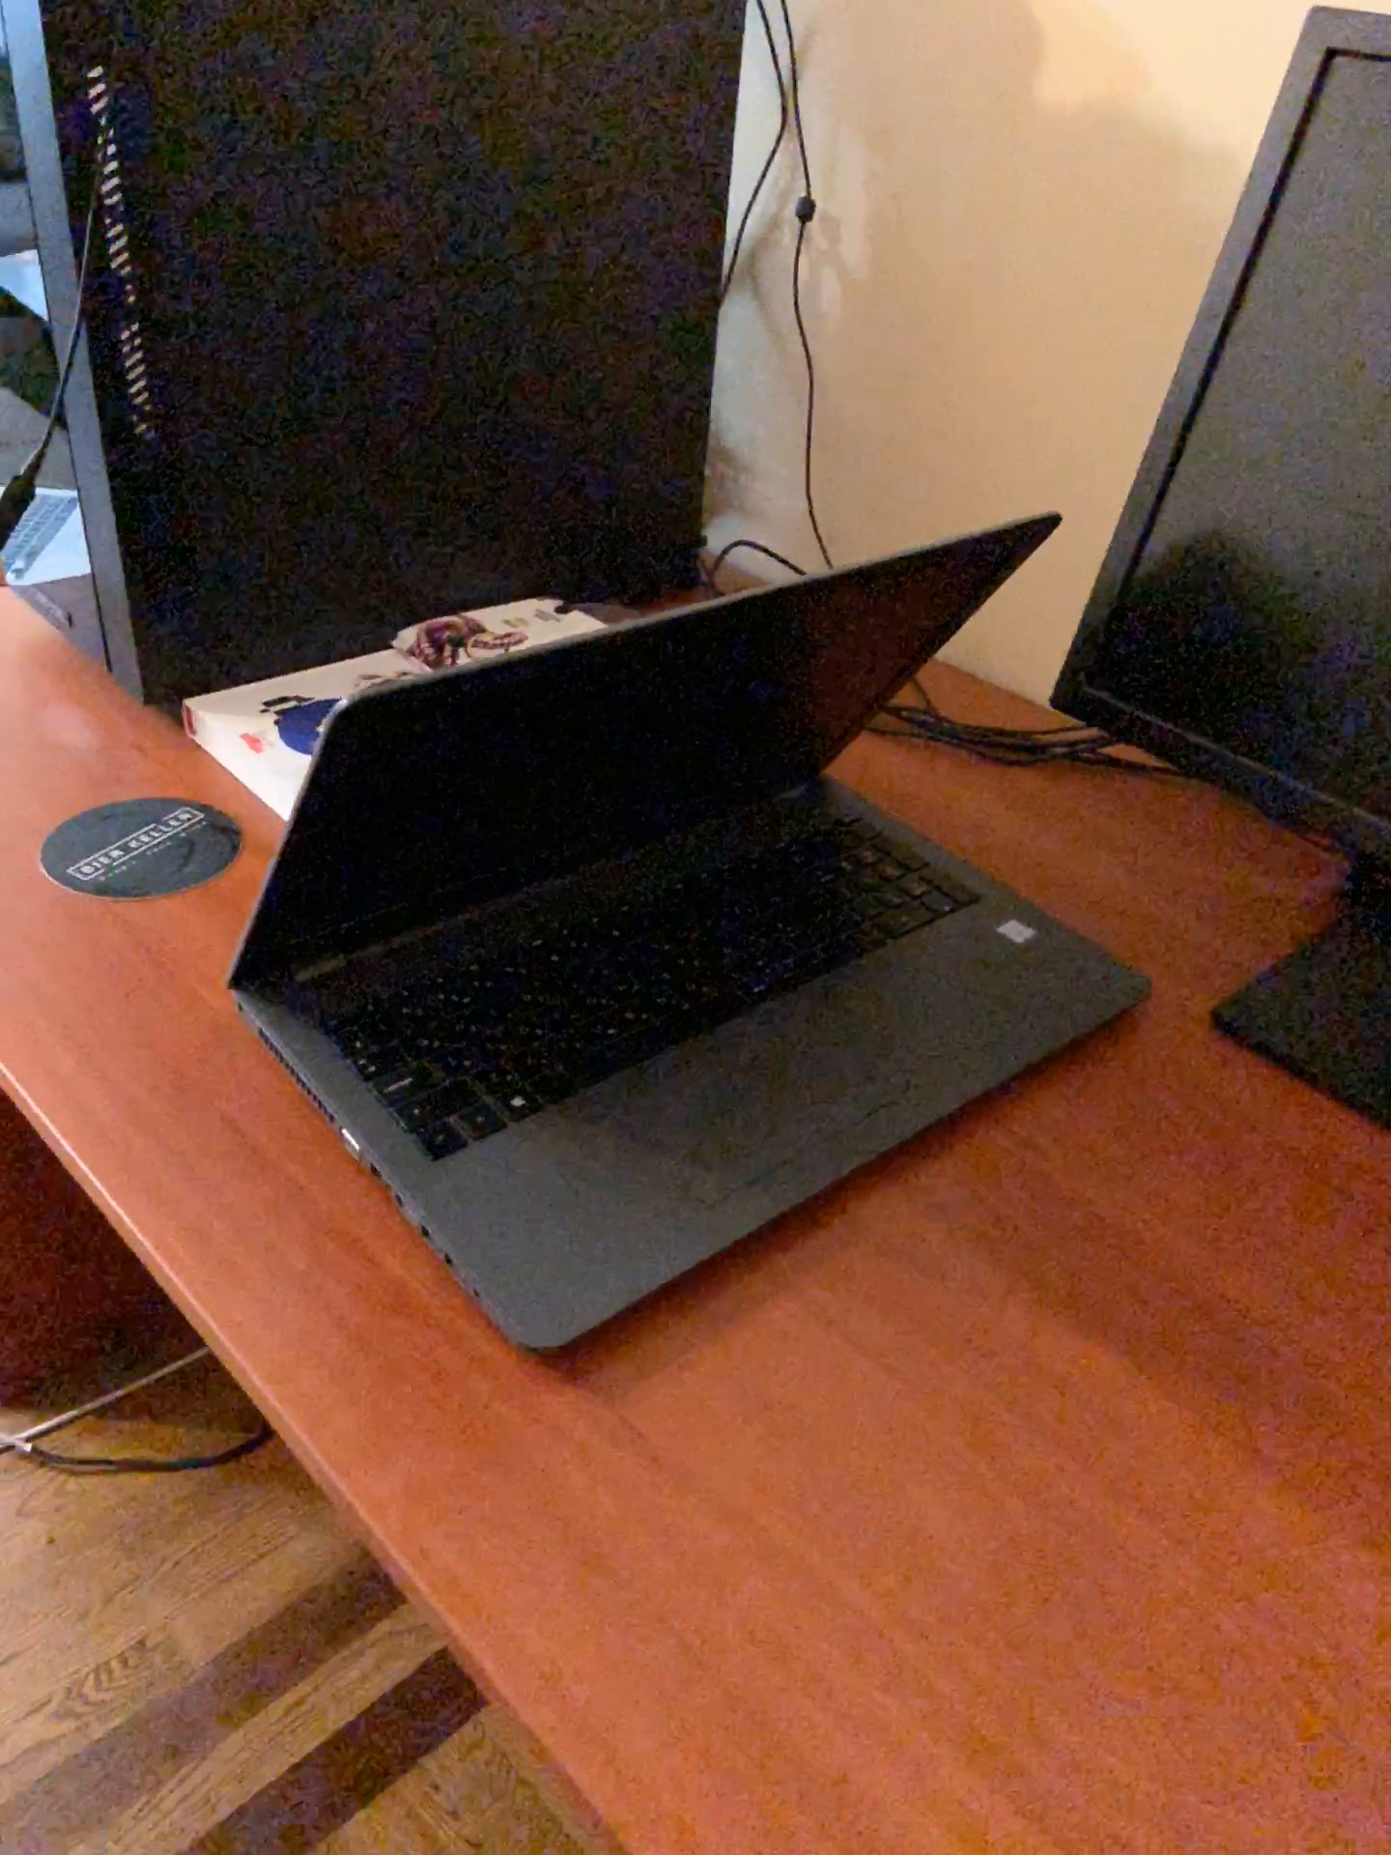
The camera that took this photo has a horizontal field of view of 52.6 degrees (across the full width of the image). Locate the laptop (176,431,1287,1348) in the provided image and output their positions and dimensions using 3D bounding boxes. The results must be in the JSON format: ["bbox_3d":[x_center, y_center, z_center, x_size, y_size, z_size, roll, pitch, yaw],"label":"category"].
[{"bbox_3d":[0.017,-0.056,0.623,0.375,0.207,0.249,-22,44,-34],"label":"laptop"}]
